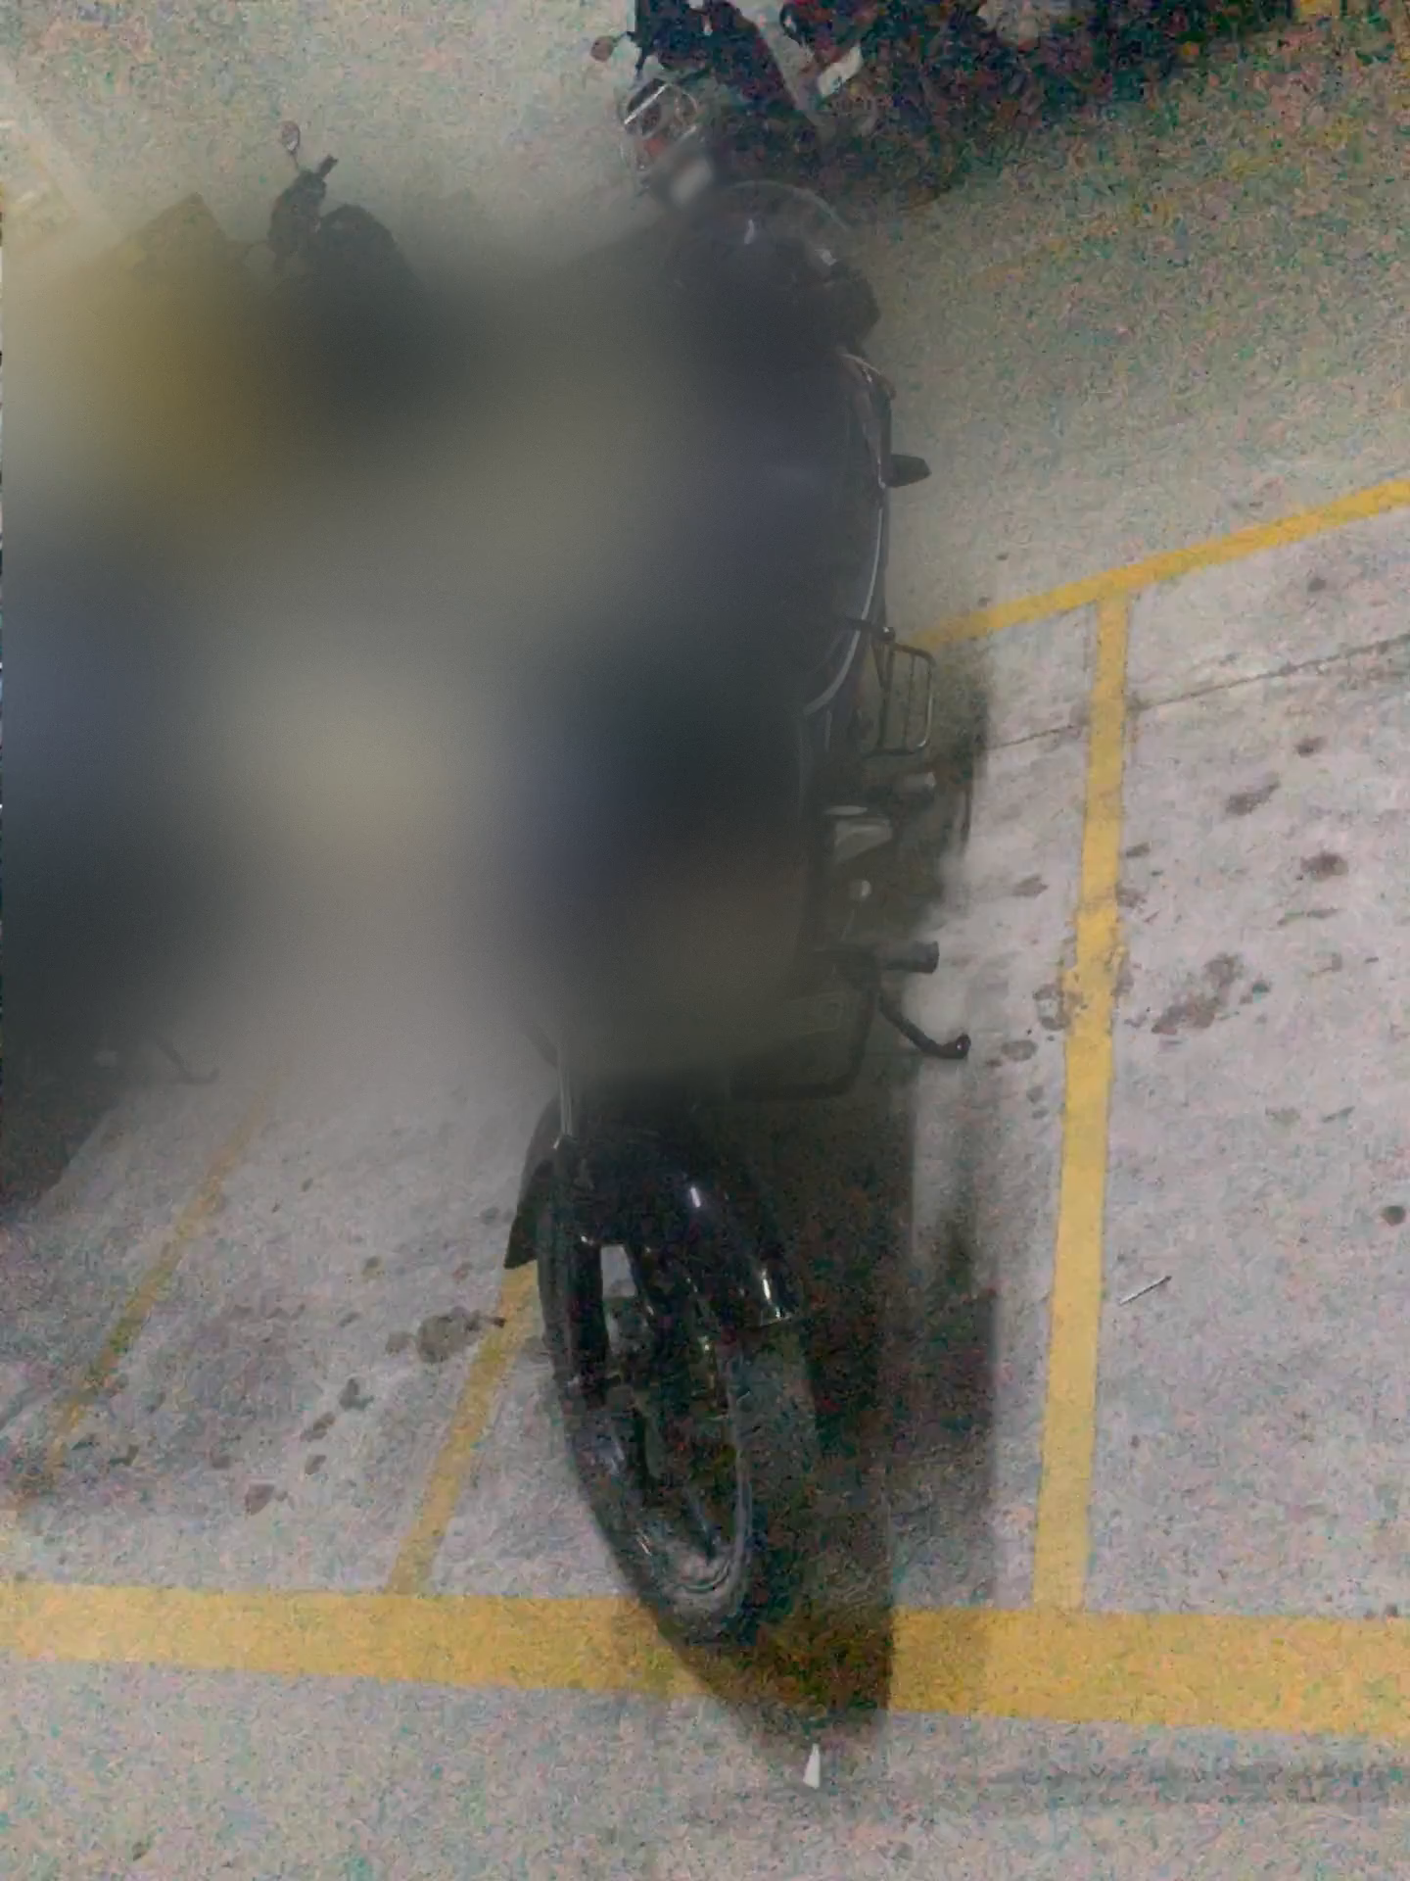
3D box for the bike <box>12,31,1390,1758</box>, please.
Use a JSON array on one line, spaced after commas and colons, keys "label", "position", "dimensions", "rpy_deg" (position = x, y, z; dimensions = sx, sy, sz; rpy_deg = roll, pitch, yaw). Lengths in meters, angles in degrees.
[{"label": "bike", "position": [0.143, -0.157, 1.846], "dimensions": [0.769, 1.155, 1.722], "rpy_deg": [-16, 39, 23]}]
